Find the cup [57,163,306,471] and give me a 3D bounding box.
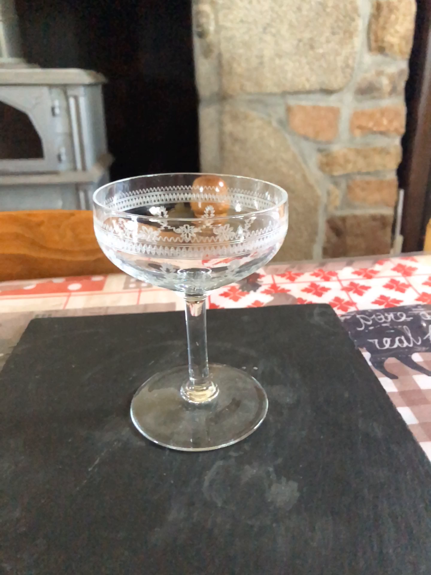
[{"bbox_3d":[-0.007,0.006,0.245,0.090,0.119,0.091,-1,23,0],"label":"cup"}]
